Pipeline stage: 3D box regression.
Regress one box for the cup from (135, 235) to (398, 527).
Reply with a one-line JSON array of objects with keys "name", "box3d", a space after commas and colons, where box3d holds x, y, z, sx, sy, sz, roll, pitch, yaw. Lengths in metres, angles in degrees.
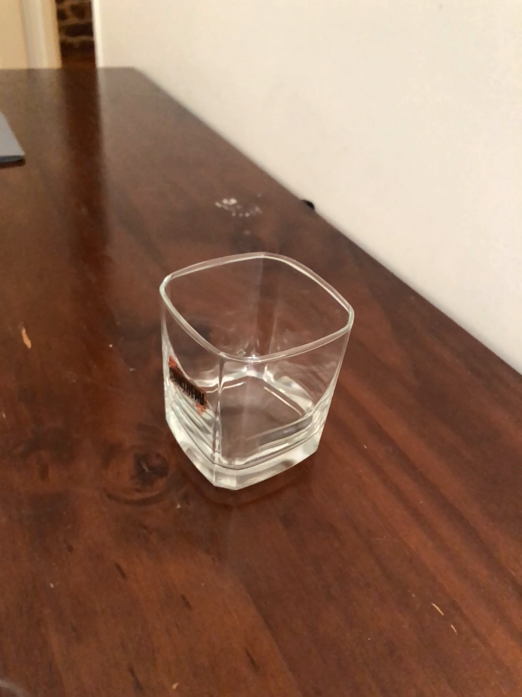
[{"name": "cup", "box3d": [-0.003, 0.011, 0.280, 0.081, 0.085, 0.086, 4, 38, -3]}]
